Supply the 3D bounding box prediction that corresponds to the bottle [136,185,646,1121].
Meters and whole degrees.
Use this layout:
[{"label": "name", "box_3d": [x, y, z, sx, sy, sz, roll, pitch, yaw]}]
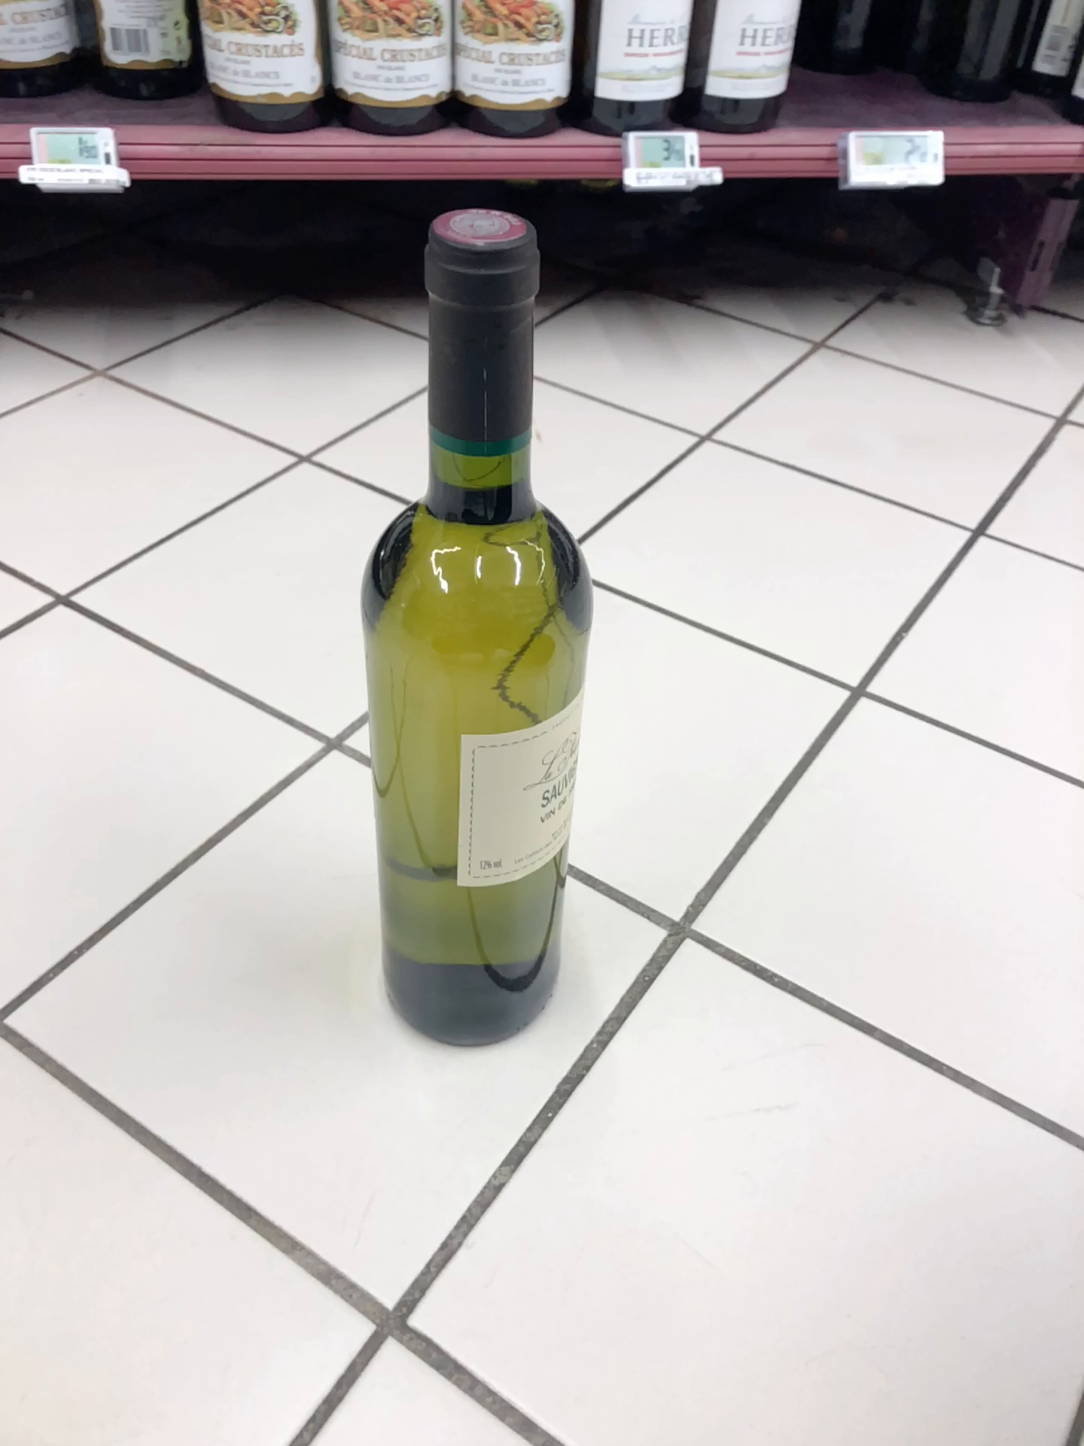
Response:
[{"label": "bottle", "box_3d": [-0.041, -0.003, 0.388, 0.090, 0.288, 0.091, 2, 41, -2]}]
